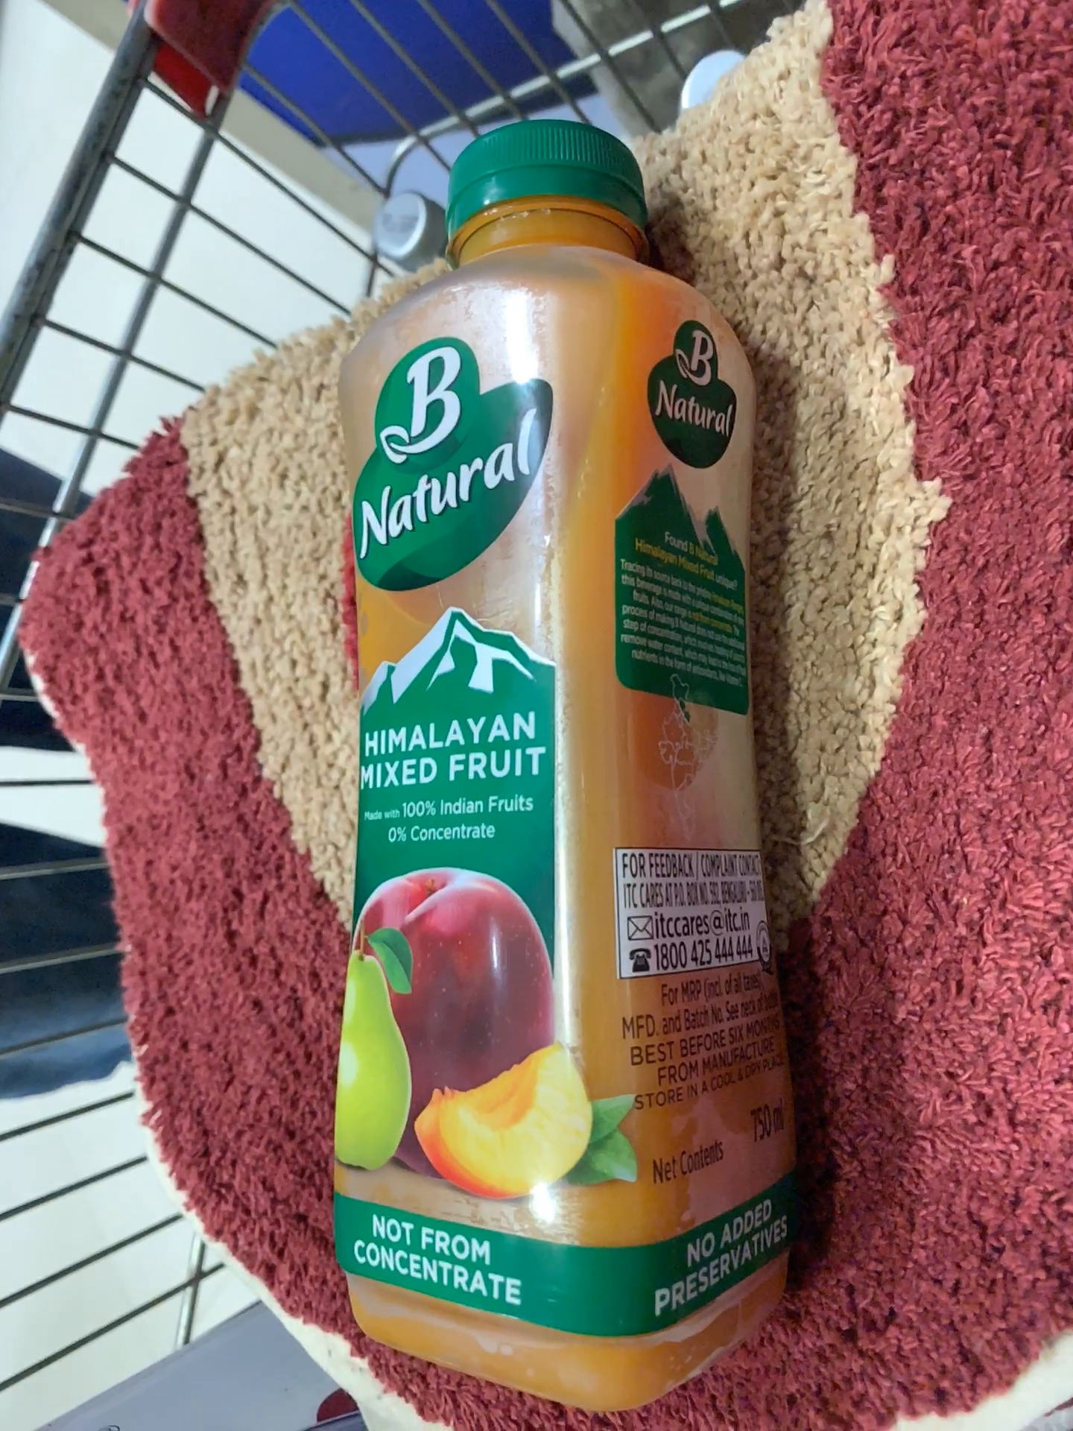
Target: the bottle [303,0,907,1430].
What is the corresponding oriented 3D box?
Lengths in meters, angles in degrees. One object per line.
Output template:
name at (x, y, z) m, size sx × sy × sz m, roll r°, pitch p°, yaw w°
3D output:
bottle at (0.017, -0.008, 0.200) m, size 0.070 × 0.070 × 0.230 m, roll -5°, pitch 77°, yaw 36°
